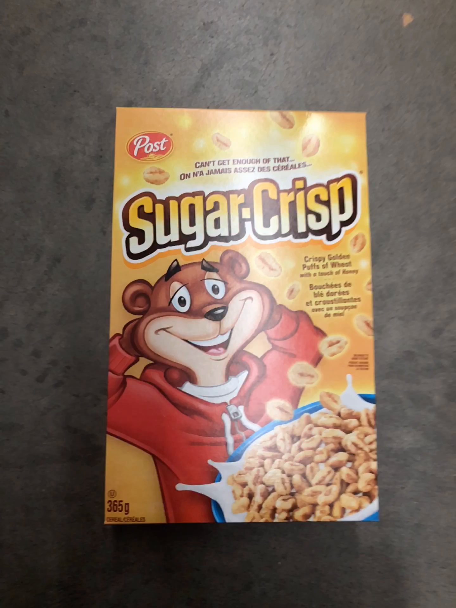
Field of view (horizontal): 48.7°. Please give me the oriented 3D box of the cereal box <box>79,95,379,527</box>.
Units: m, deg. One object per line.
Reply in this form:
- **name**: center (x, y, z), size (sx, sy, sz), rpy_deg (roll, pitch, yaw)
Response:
- **cereal box**: center (0.002, 0.002, 0.380), size (0.200, 0.060, 0.300), rpy_deg (0, 84, -1)
